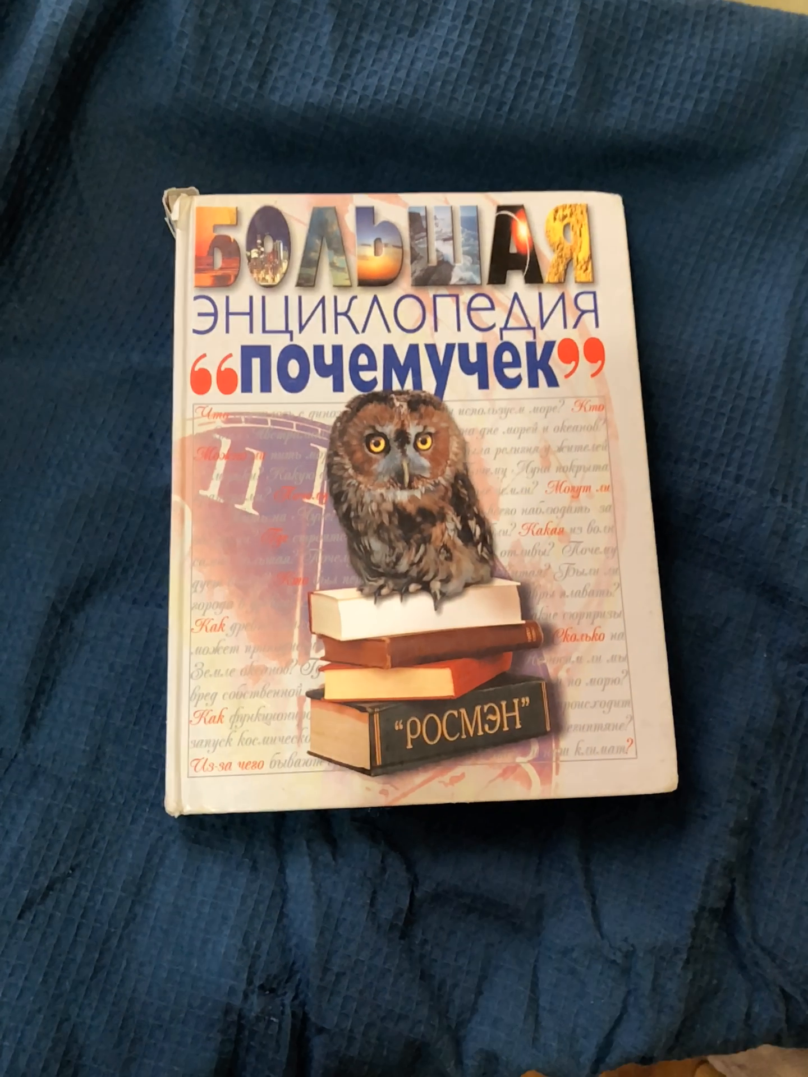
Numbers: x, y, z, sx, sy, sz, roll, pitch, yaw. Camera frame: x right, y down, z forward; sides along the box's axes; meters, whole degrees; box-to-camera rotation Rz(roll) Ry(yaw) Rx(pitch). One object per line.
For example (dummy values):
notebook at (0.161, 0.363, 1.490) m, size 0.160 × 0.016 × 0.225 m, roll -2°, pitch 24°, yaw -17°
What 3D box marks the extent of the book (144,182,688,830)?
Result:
book at (0.001, -0.026, 0.429) m, size 0.235 × 0.030 × 0.305 m, roll -2°, pitch 78°, yaw -3°
